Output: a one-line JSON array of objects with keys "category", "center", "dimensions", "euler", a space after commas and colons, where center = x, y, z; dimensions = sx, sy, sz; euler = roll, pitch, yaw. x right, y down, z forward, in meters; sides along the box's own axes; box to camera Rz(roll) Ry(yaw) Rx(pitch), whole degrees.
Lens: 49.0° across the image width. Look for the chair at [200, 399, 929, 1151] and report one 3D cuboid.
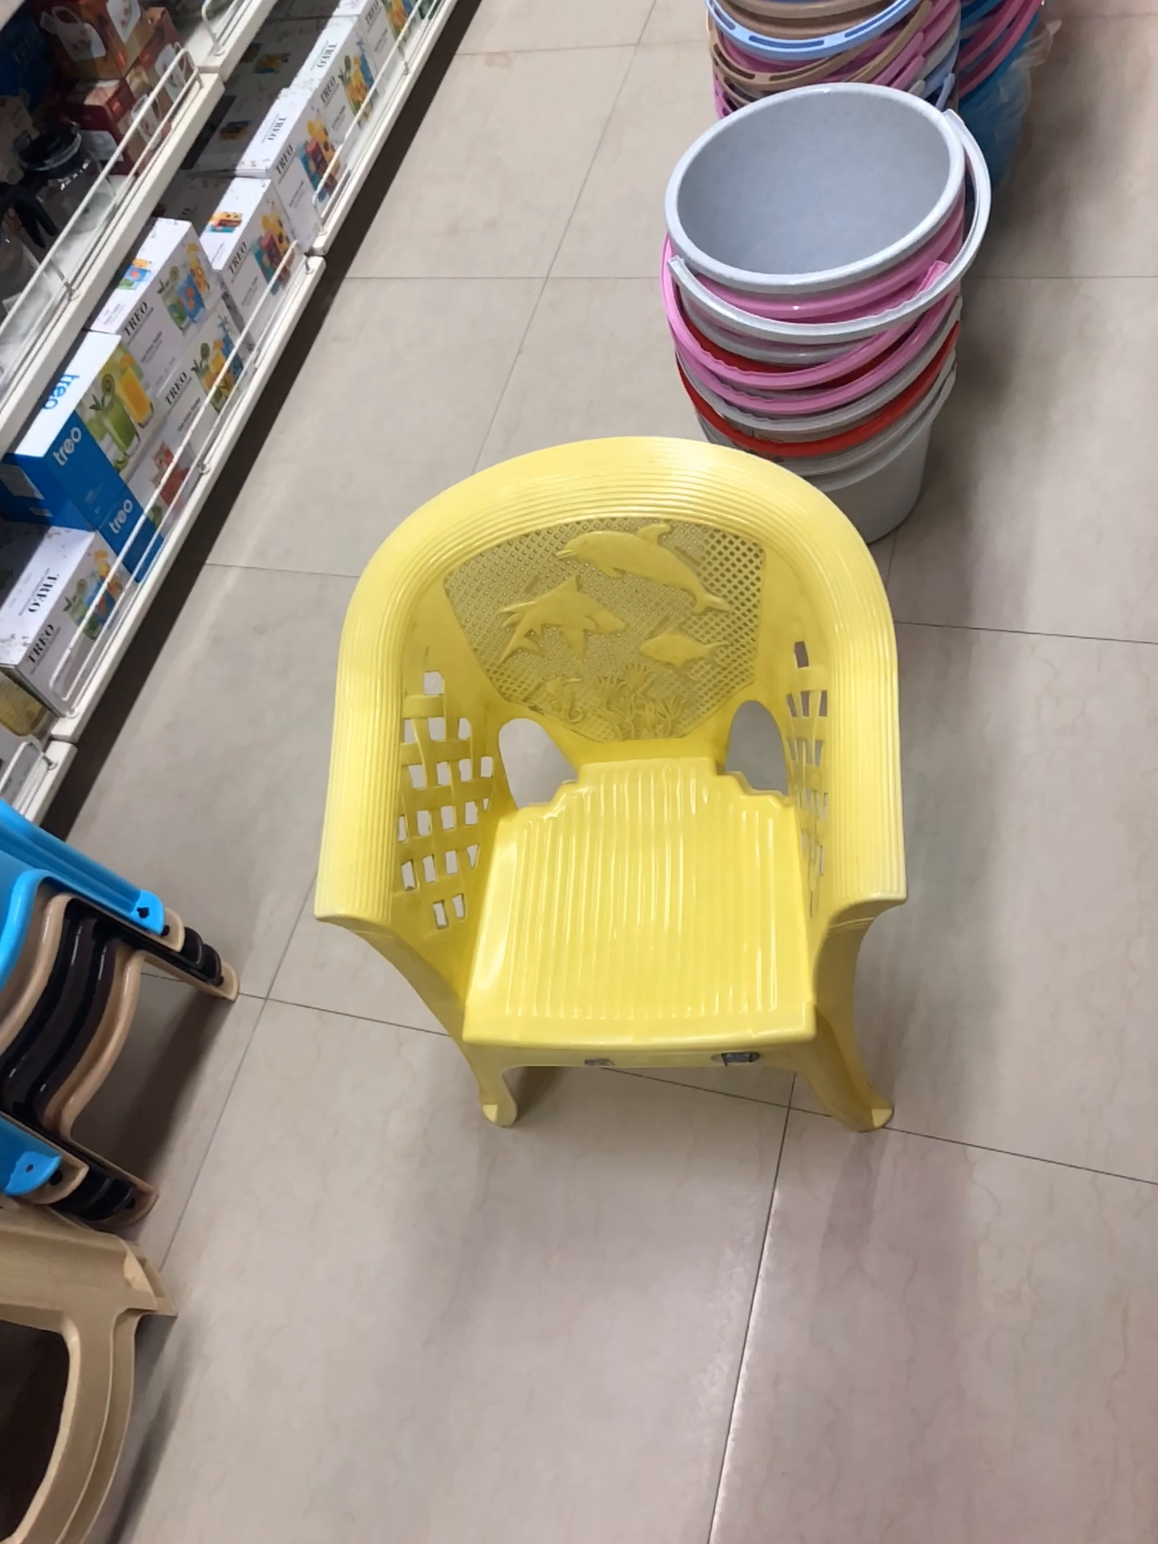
[{"category": "chair", "center": [0.037, 0.027, 1.078], "dimensions": [0.470, 0.398, 0.472], "euler": [-3, 59, 13]}]
